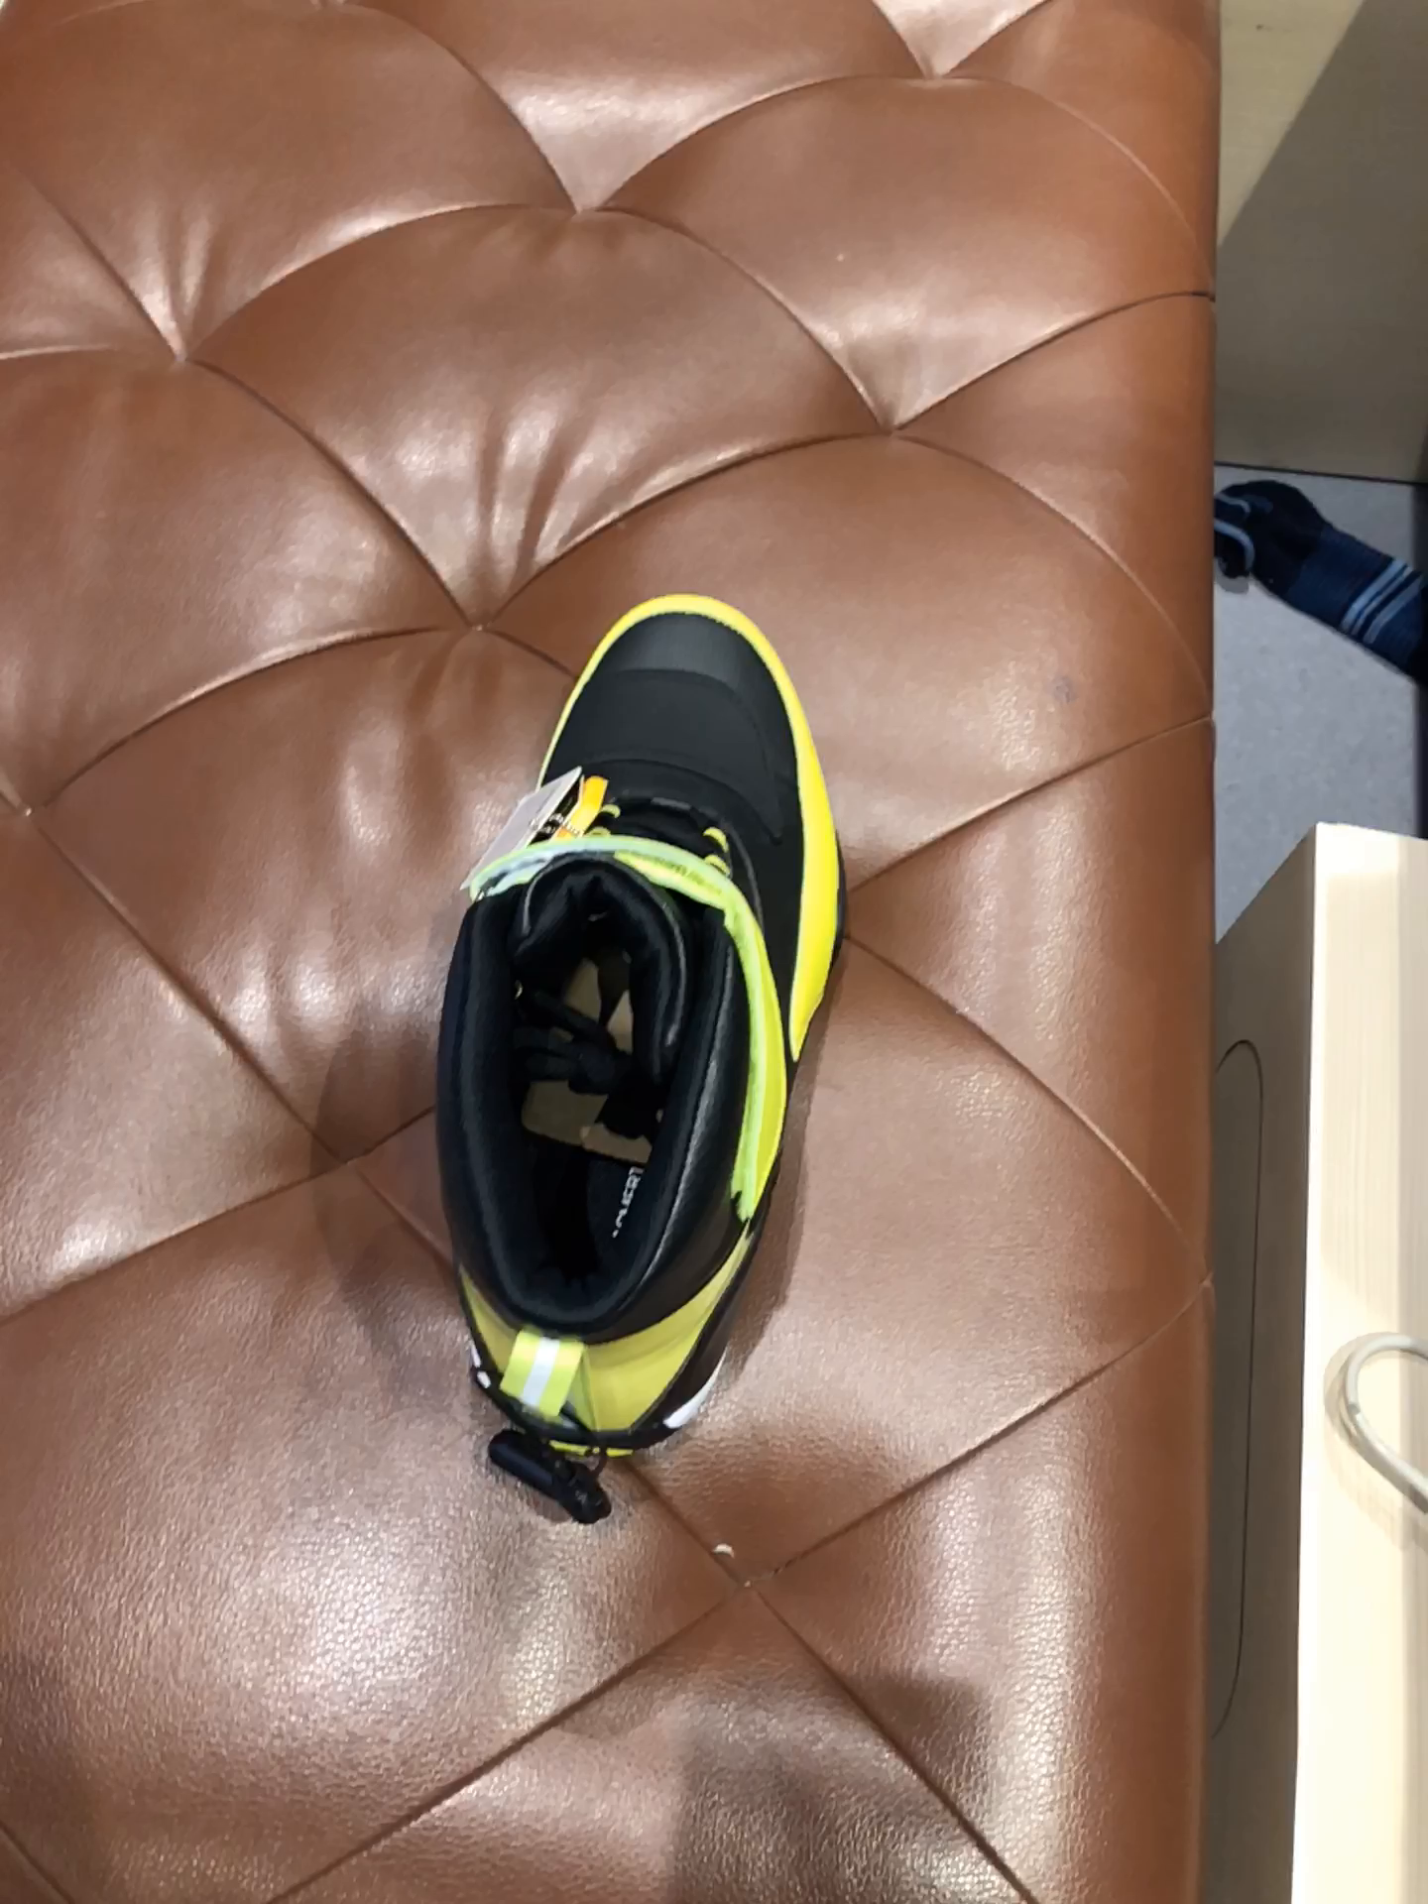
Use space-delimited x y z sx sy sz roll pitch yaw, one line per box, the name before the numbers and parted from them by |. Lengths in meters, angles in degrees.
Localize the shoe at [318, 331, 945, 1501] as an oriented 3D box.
shoe | -0.011 -0.003 0.448 0.116 0.173 0.275 6 65 0
